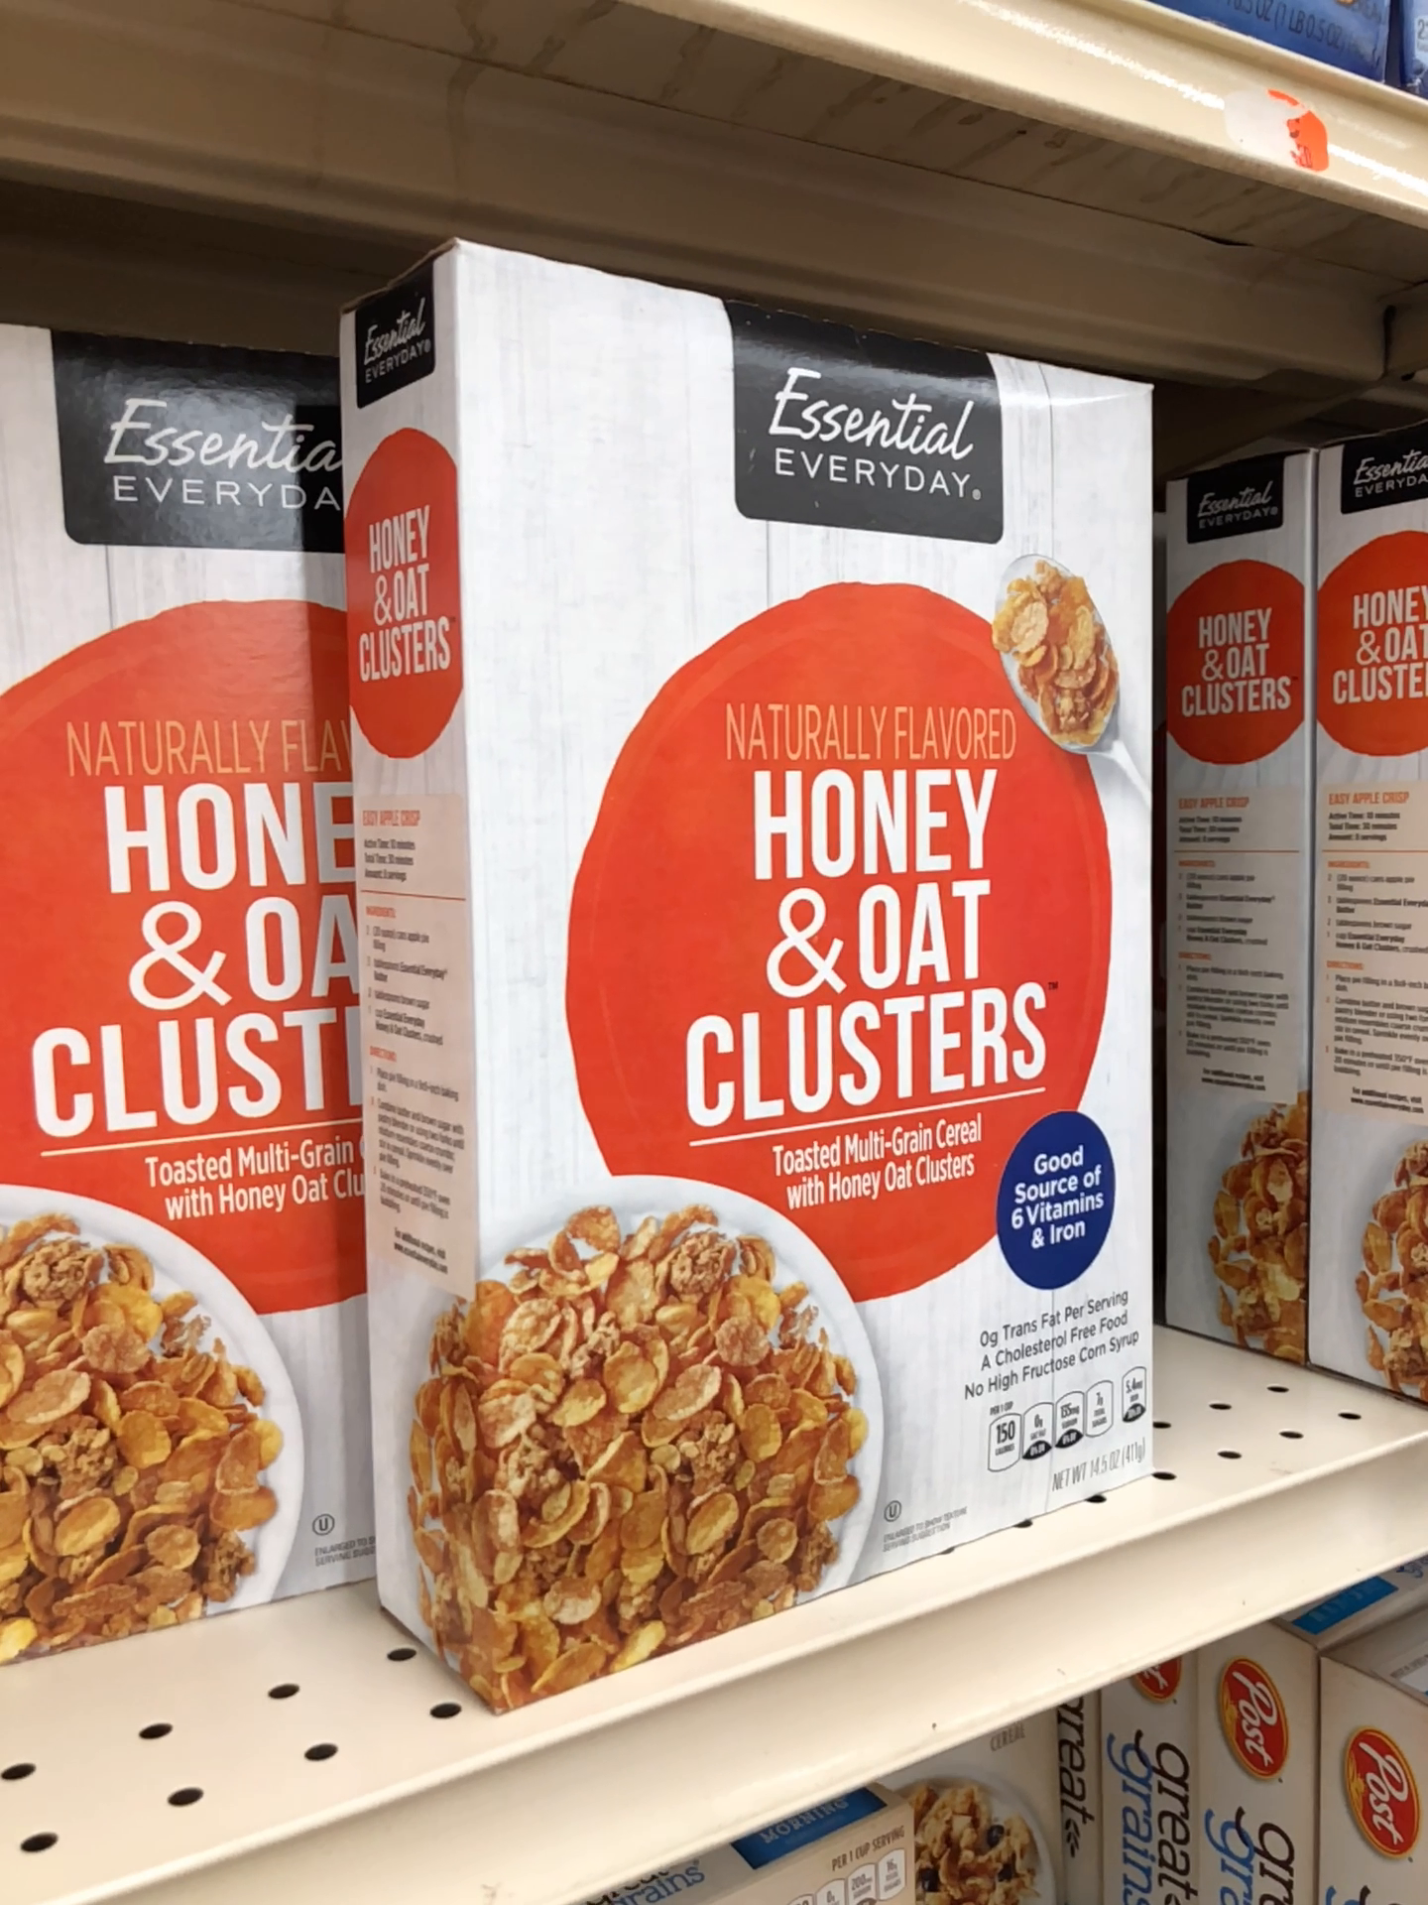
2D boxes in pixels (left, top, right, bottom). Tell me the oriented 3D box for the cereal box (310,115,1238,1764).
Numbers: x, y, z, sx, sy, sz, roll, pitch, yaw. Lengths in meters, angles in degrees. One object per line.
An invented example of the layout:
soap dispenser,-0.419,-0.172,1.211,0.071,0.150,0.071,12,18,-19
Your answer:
cereal box,0.024,-0.005,0.374,0.210,0.300,0.070,-4,6,-33
